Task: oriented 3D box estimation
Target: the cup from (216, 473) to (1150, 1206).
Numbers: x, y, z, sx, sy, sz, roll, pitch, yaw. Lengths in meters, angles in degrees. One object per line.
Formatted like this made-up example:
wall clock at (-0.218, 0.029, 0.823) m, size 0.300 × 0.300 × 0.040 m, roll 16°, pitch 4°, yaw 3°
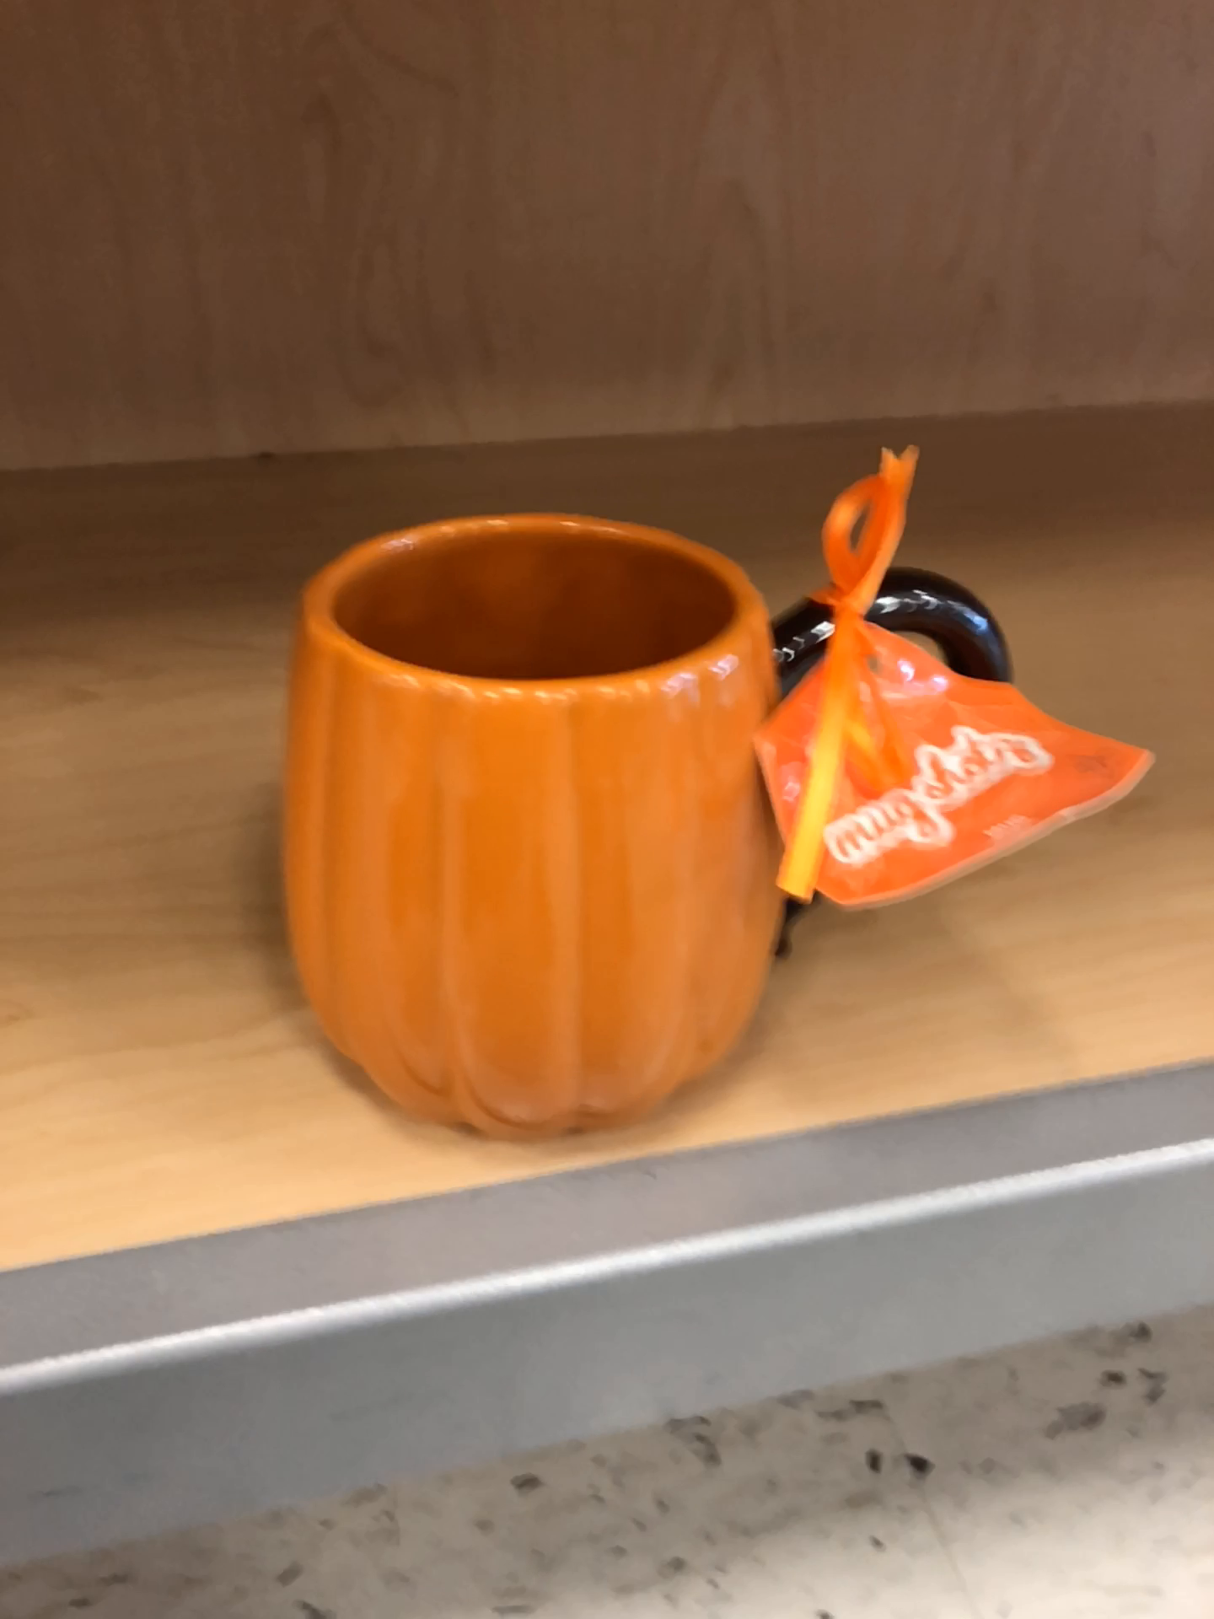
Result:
cup at (0.006, -0.001, 0.251) m, size 0.140 × 0.089 × 0.081 m, roll -7°, pitch 34°, yaw -13°
